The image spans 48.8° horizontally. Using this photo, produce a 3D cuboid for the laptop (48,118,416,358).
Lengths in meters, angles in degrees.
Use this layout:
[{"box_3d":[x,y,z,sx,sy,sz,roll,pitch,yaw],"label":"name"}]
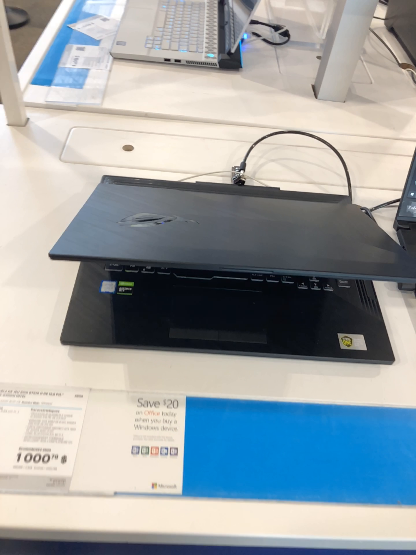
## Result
[{"box_3d":[0.028,-0.056,0.521,0.331,0.097,0.264,3,50,-2],"label":"laptop"}]
